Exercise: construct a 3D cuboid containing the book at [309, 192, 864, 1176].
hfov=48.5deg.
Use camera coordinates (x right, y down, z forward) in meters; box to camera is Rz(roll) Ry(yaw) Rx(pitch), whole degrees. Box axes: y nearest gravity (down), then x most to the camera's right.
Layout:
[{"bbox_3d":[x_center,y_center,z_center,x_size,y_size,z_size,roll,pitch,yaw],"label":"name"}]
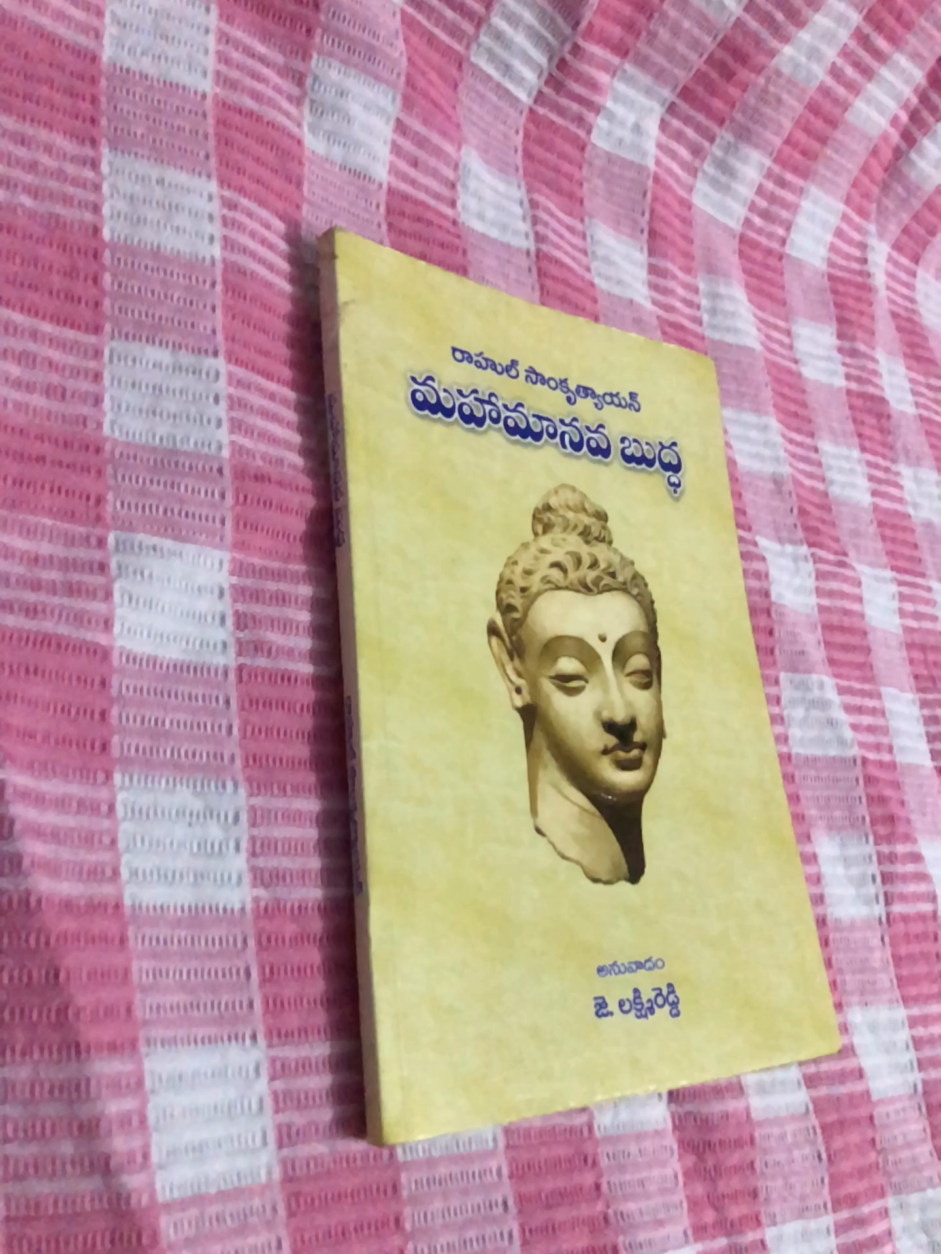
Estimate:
[{"bbox_3d":[0.031,0.007,0.274,0.141,0.020,0.220,7,68,-36],"label":"book"}]
